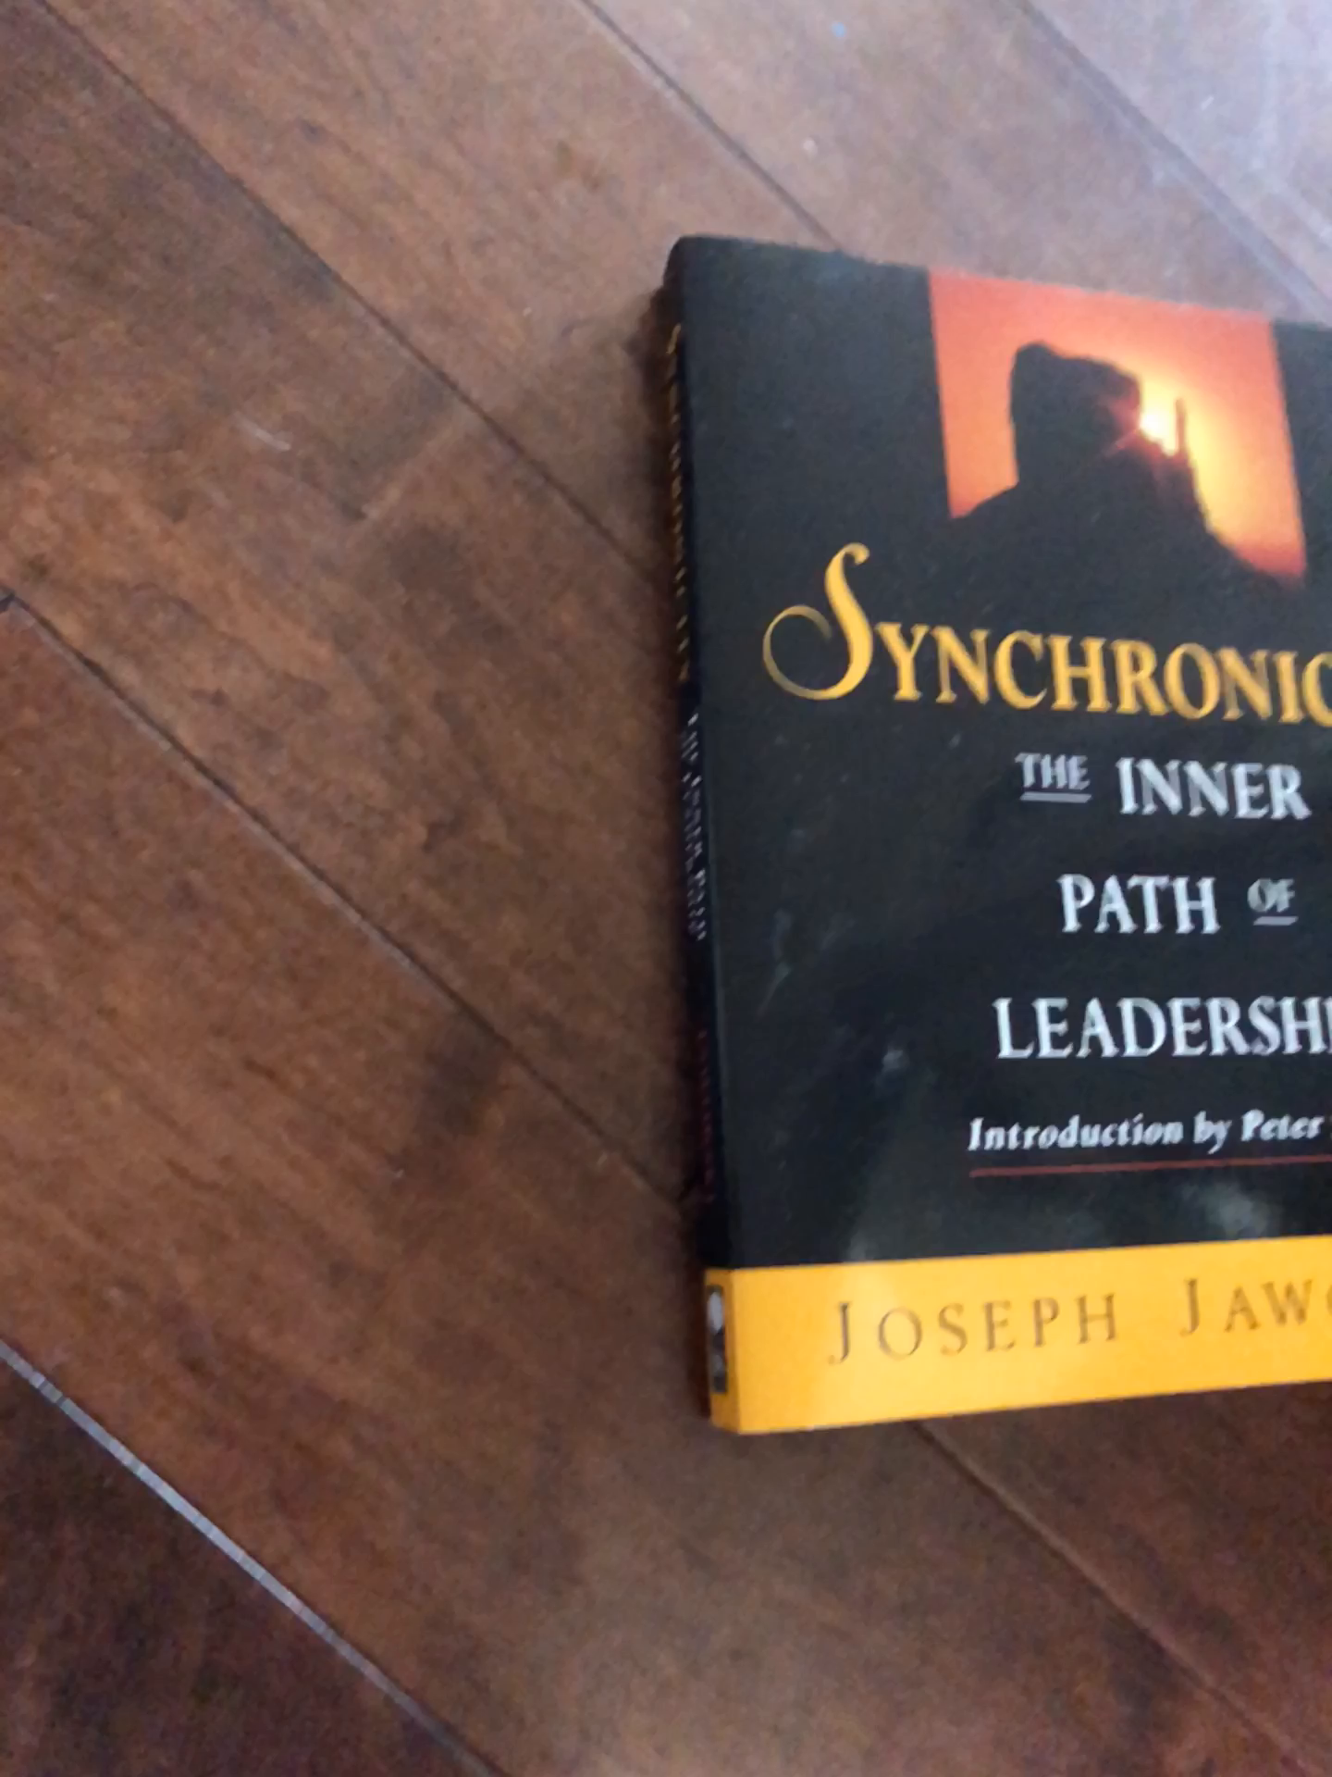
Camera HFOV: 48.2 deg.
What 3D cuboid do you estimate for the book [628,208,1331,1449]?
[{"bbox_3d":[0.094,-0.016,0.299,0.190,0.030,0.222,0,78,-16],"label":"book"}]
